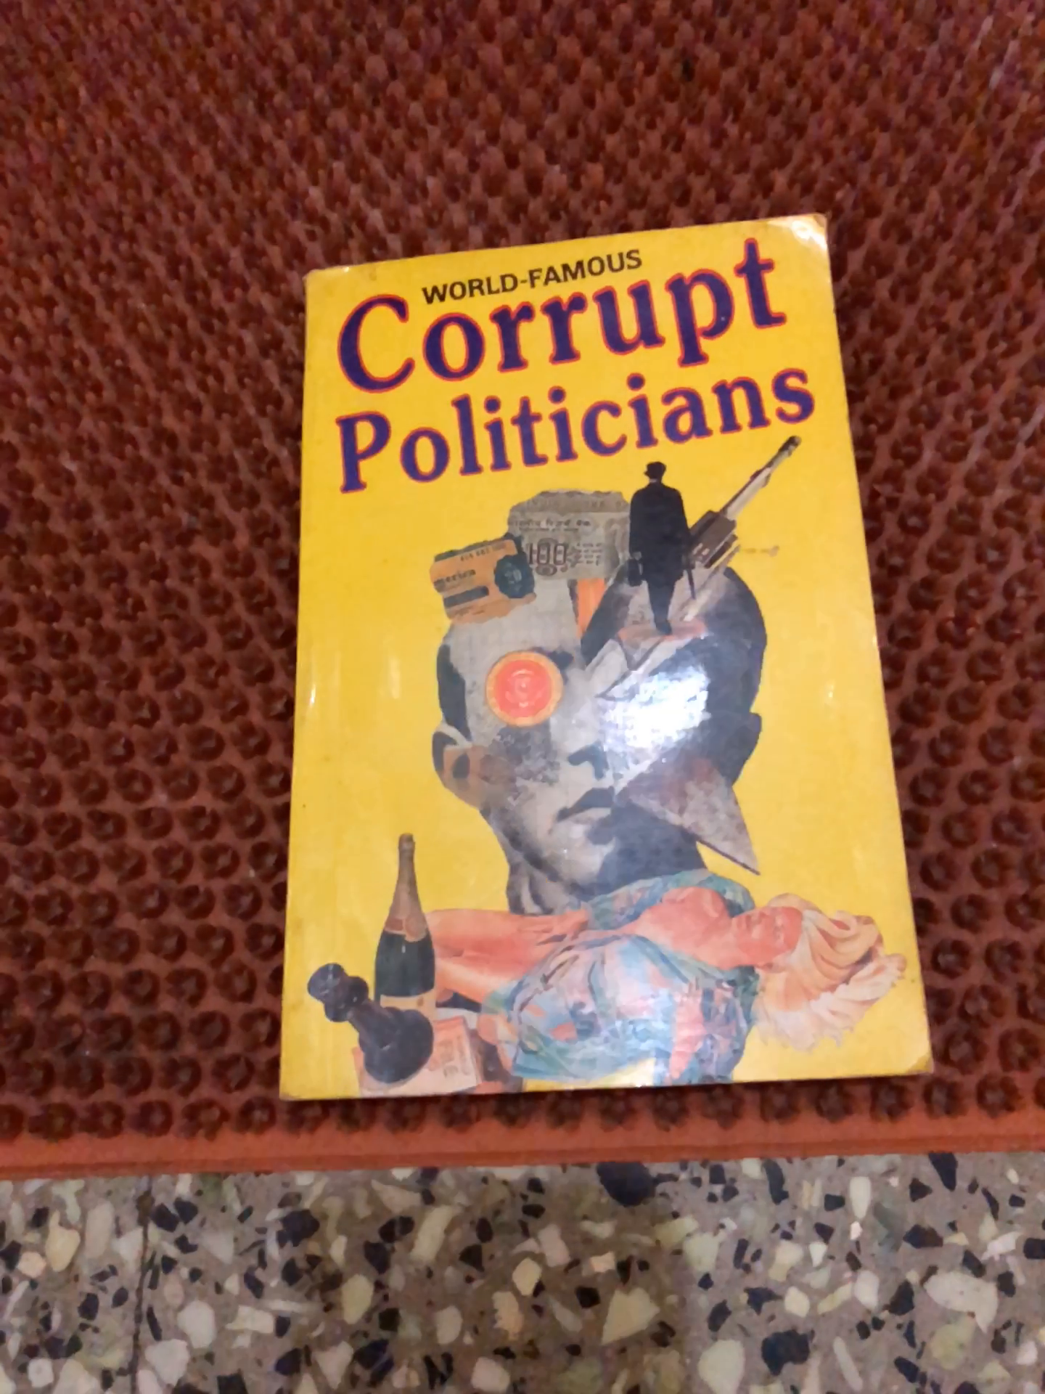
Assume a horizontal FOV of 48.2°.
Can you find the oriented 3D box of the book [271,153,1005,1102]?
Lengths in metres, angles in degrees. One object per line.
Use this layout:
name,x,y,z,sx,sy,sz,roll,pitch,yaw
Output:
book,0.018,-0.026,0.286,0.150,0.020,0.230,-4,71,5
